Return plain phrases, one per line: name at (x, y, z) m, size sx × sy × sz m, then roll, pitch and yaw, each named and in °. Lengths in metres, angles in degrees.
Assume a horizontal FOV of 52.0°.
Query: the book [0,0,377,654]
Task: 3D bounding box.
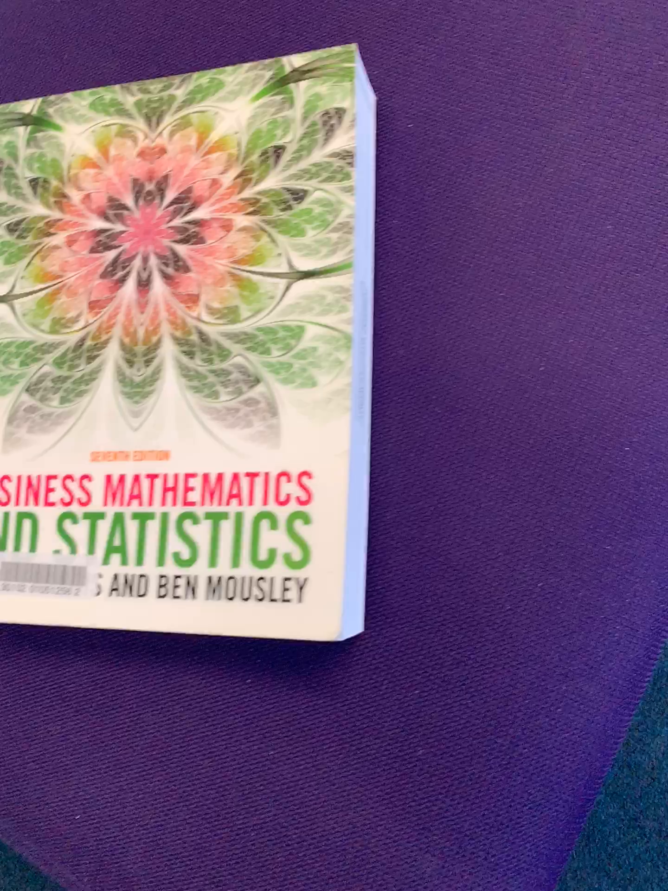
book at (-0.086, -0.051, 0.304) m, size 0.200 × 0.050 × 0.260 m, roll -1°, pitch 79°, yaw 14°
